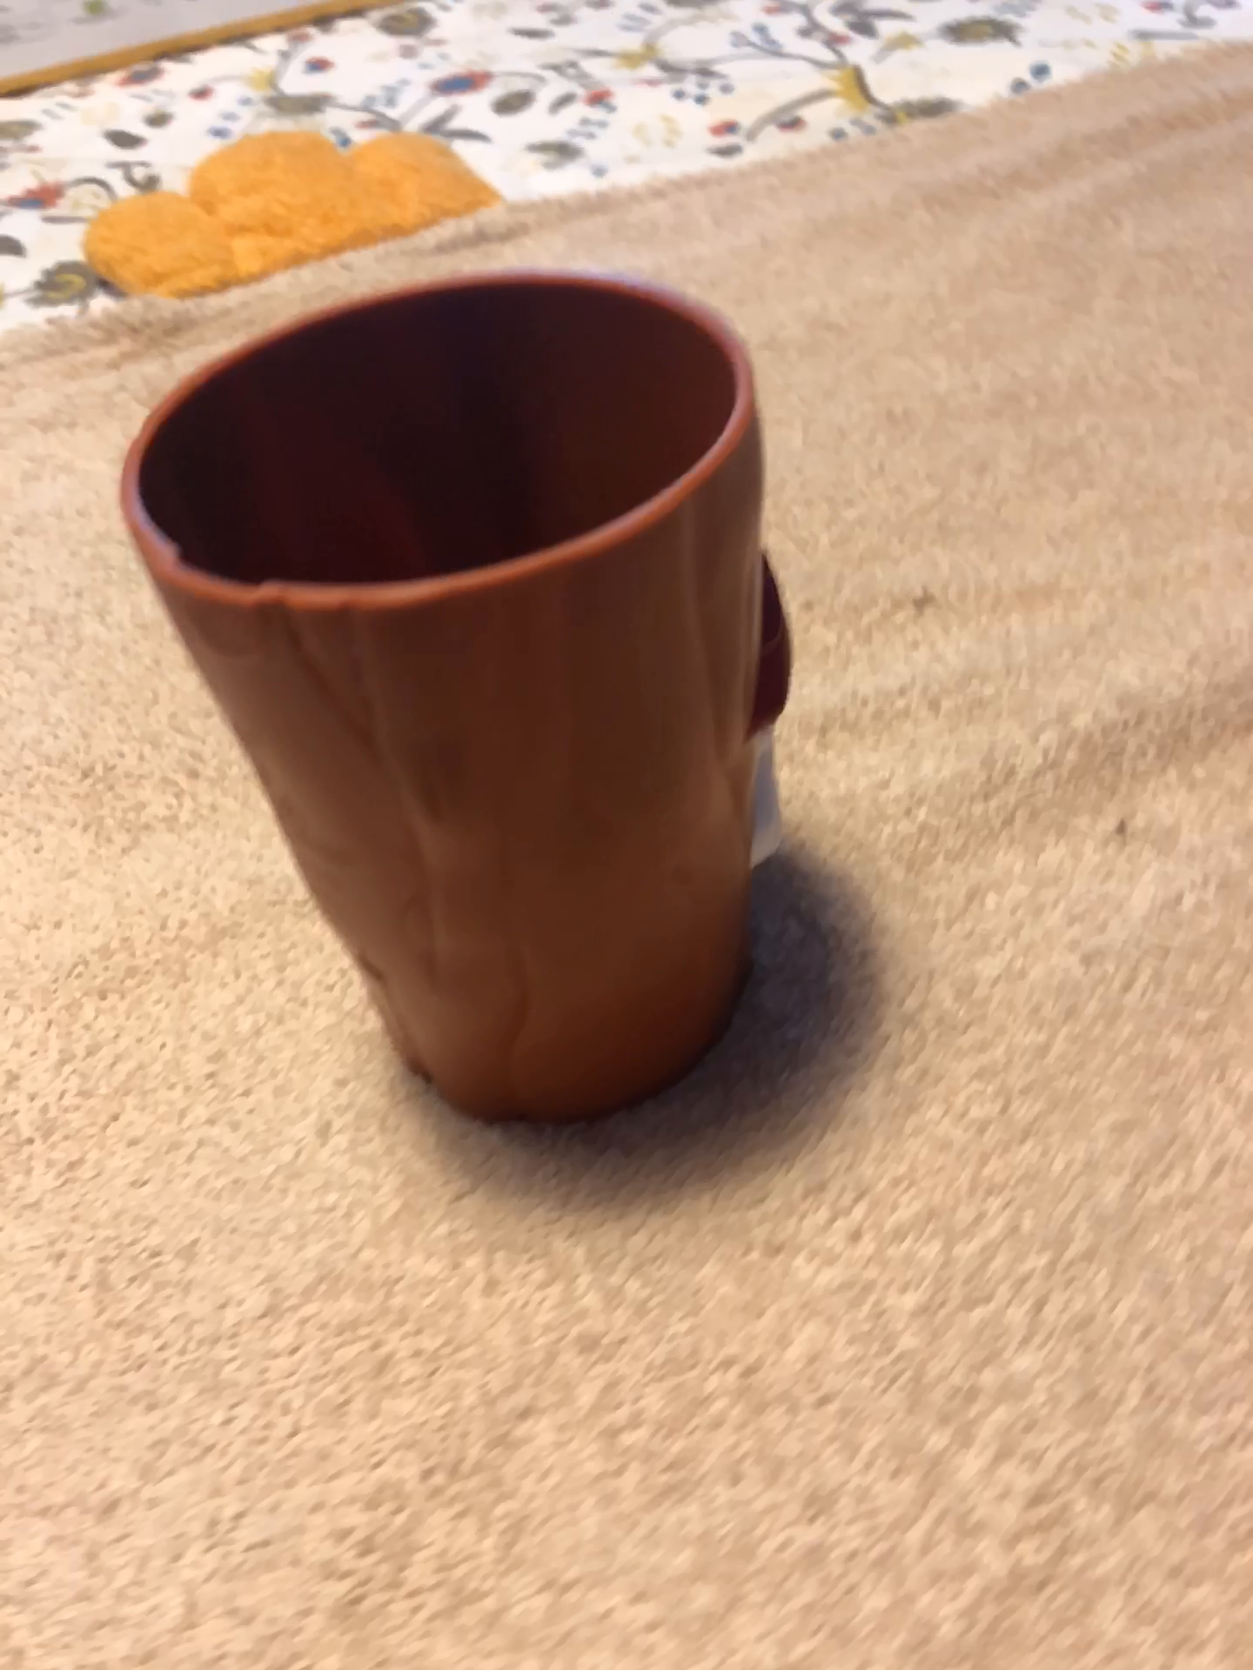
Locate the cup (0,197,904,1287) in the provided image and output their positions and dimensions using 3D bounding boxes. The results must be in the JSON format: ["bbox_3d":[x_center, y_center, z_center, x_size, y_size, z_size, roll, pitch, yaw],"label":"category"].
[{"bbox_3d":[-0.019,-0.015,0.209,0.080,0.109,0.090,31,59,33],"label":"cup"}]
